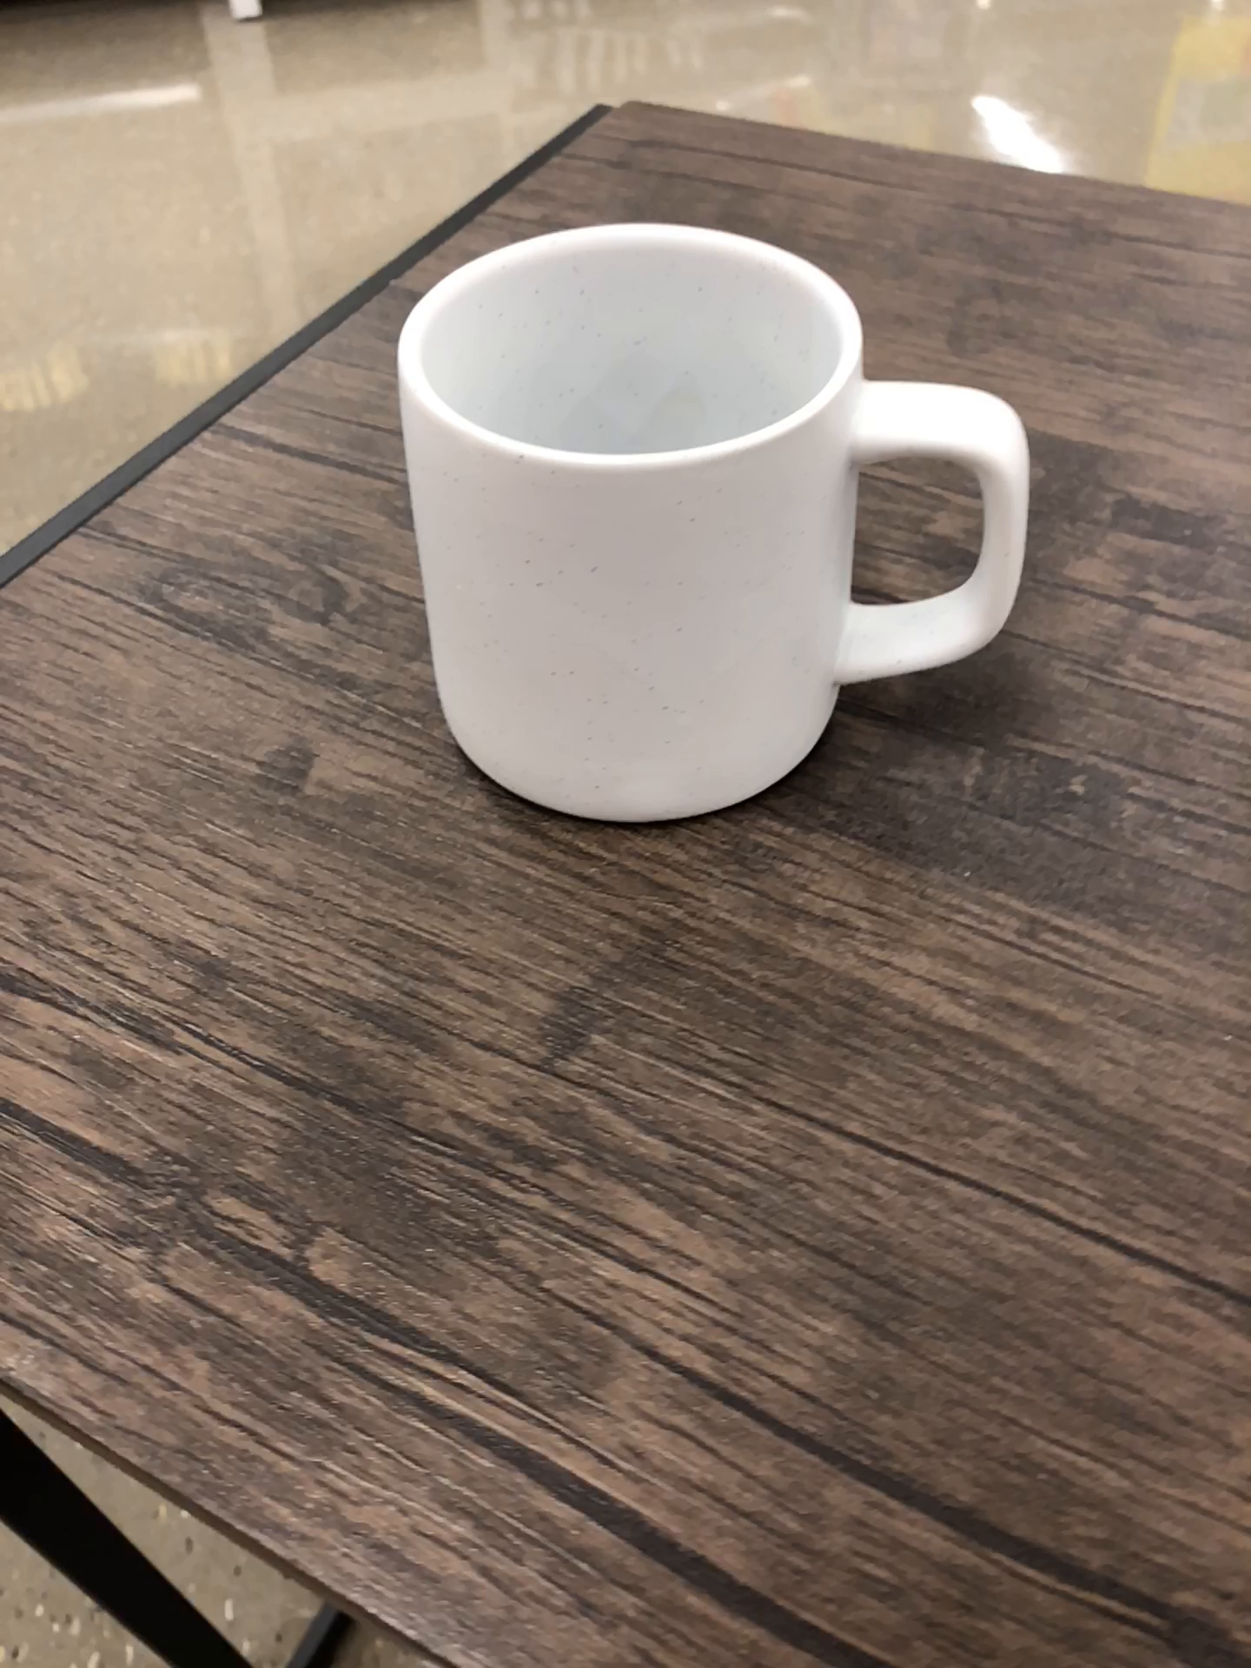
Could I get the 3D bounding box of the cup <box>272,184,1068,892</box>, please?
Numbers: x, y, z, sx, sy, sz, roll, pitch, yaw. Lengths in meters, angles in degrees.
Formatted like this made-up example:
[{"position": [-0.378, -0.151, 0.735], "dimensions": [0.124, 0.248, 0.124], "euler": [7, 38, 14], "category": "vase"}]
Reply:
[{"position": [0.015, -0.062, 0.291], "dimensions": [0.130, 0.100, 0.090], "euler": [7, 48, 9], "category": "cup"}]
